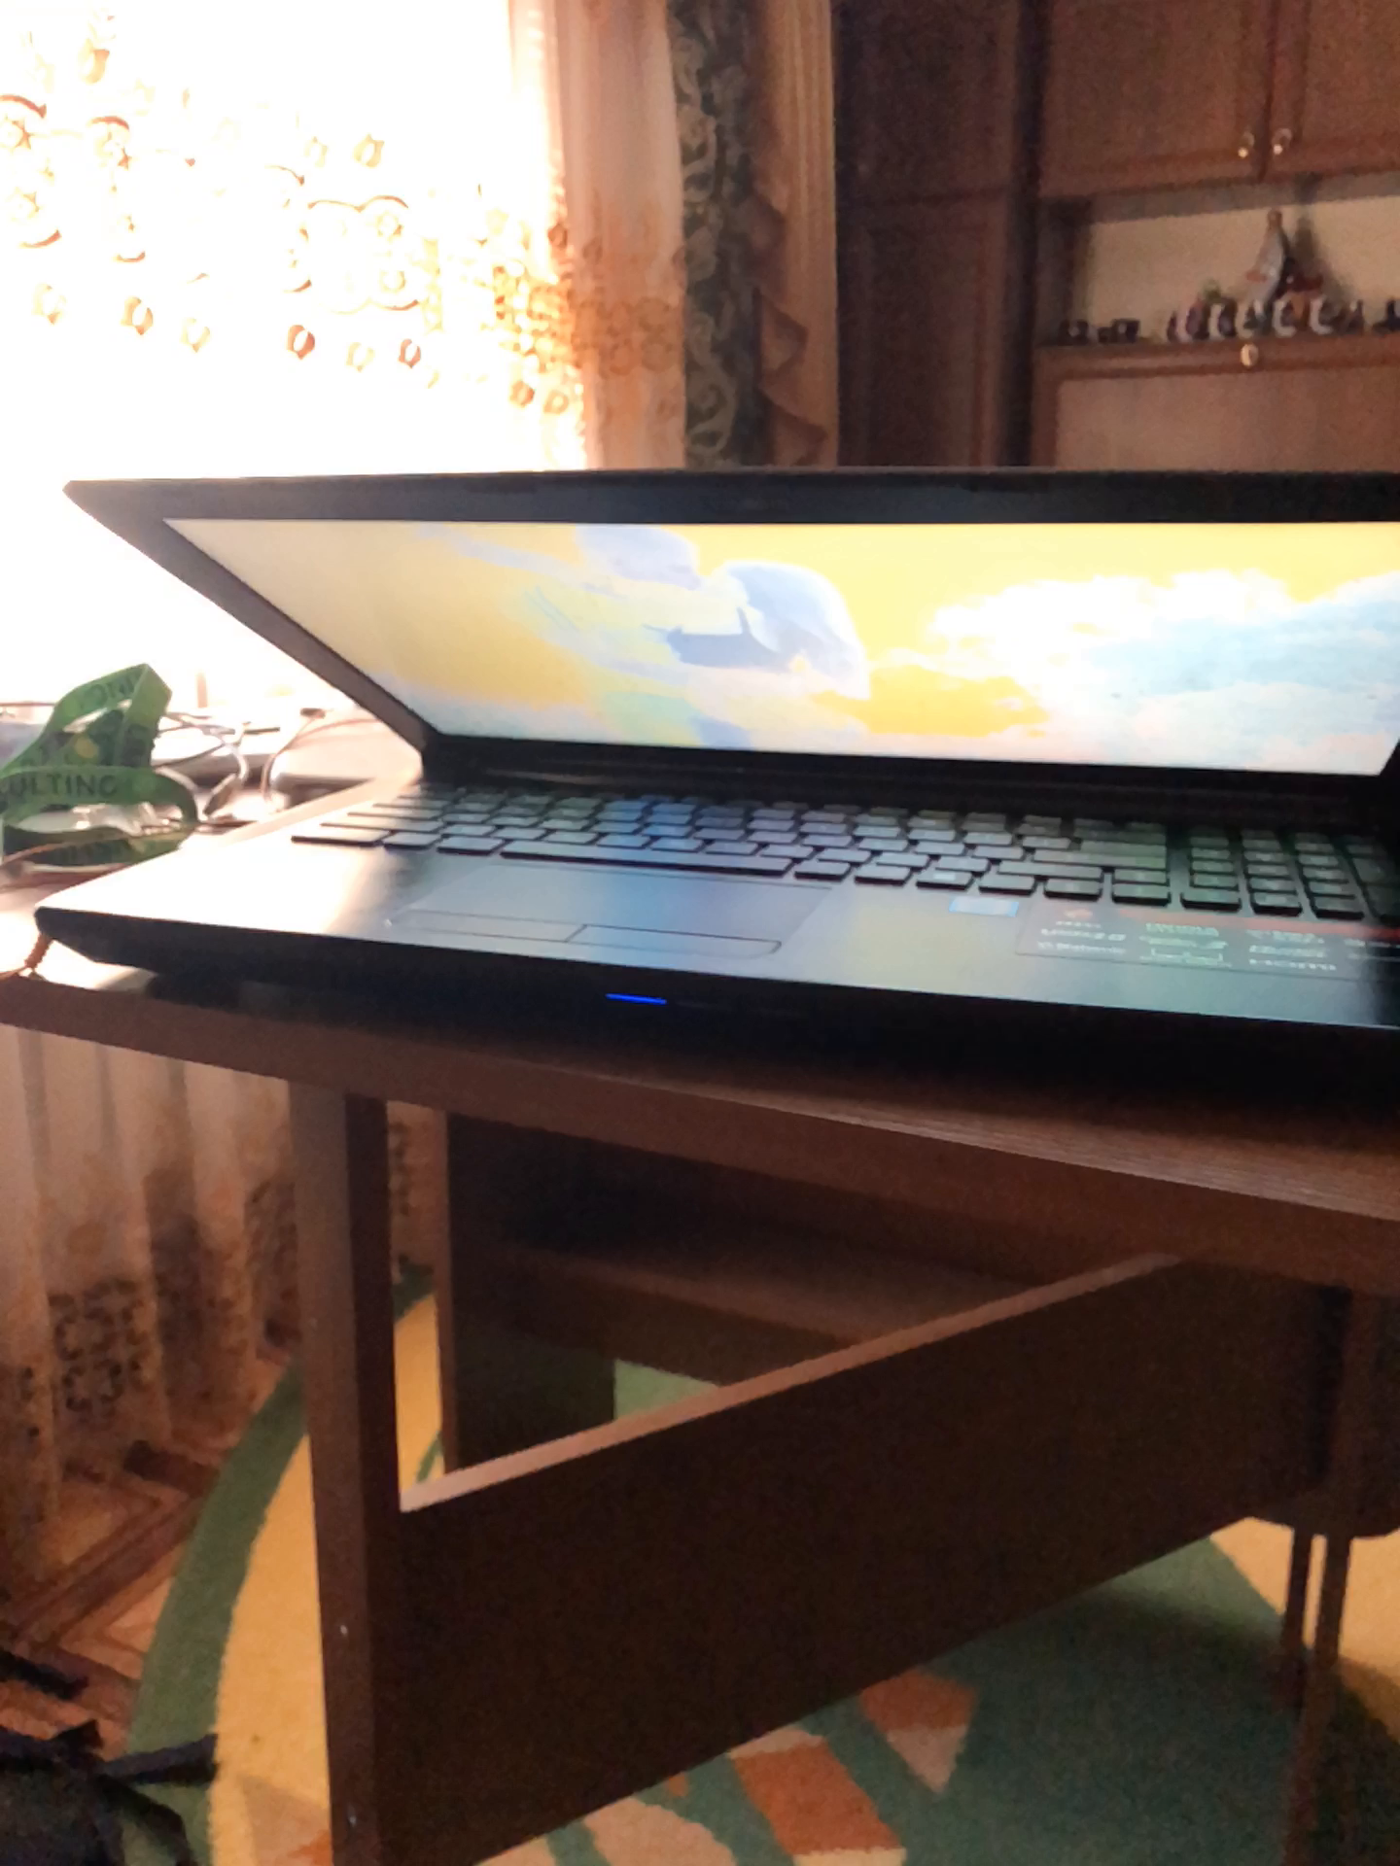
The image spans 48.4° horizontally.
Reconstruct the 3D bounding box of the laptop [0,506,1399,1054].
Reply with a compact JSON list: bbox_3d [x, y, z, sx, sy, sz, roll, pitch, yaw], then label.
[{"bbox_3d":[0.030,-0.069,0.446,0.372,0.095,0.239,4,16,17],"label":"laptop"}]
